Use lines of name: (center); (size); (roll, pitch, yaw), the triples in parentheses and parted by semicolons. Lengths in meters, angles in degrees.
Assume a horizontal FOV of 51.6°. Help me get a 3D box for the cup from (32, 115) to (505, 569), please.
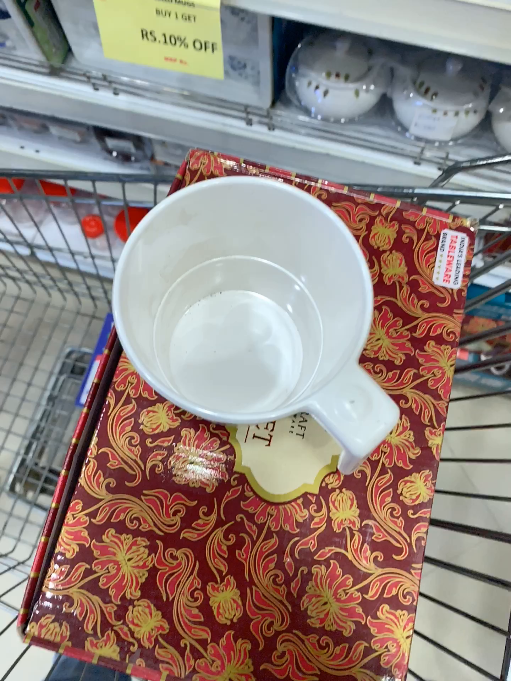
cup: (0.003, 0.003, 0.189); (0.110, 0.080, 0.080); (42, 79, 10)
